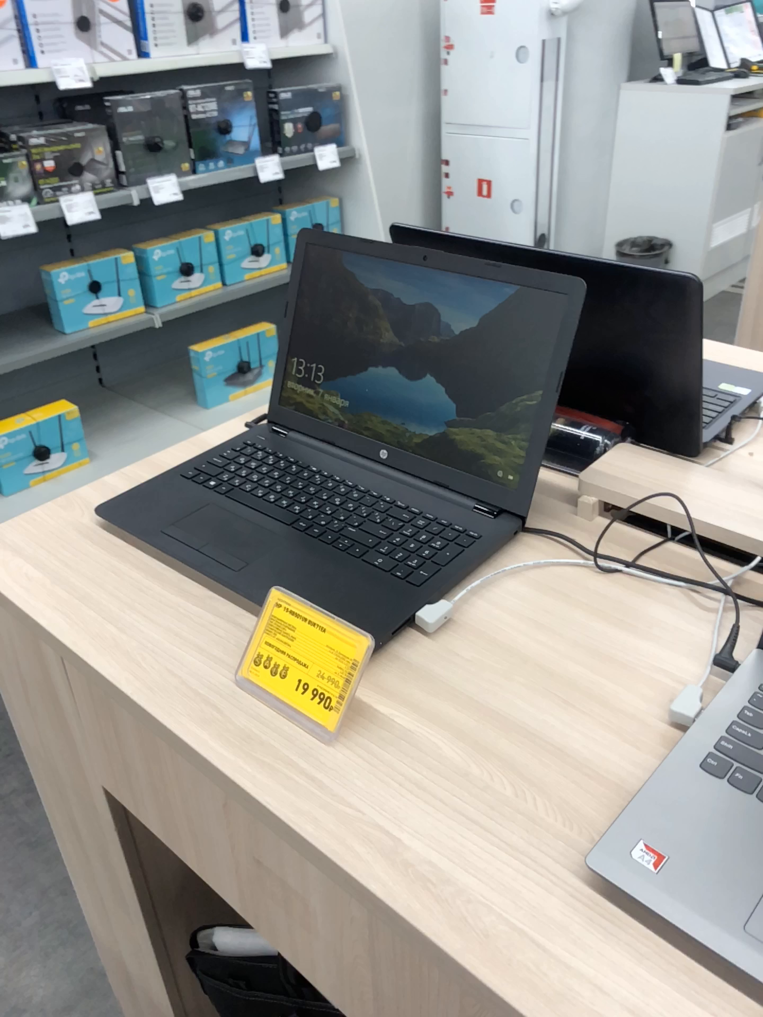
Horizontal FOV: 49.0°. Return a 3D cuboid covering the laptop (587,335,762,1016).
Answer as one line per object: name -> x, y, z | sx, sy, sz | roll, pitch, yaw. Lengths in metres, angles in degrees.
laptop -> 0.373, 0.105, 0.429 | 0.371, 0.226, 0.339 | 24, 41, 39

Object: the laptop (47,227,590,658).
laptop -> -0.056, -0.107, 0.835 | 0.377, 0.217, 0.342 | 23, 40, 36
